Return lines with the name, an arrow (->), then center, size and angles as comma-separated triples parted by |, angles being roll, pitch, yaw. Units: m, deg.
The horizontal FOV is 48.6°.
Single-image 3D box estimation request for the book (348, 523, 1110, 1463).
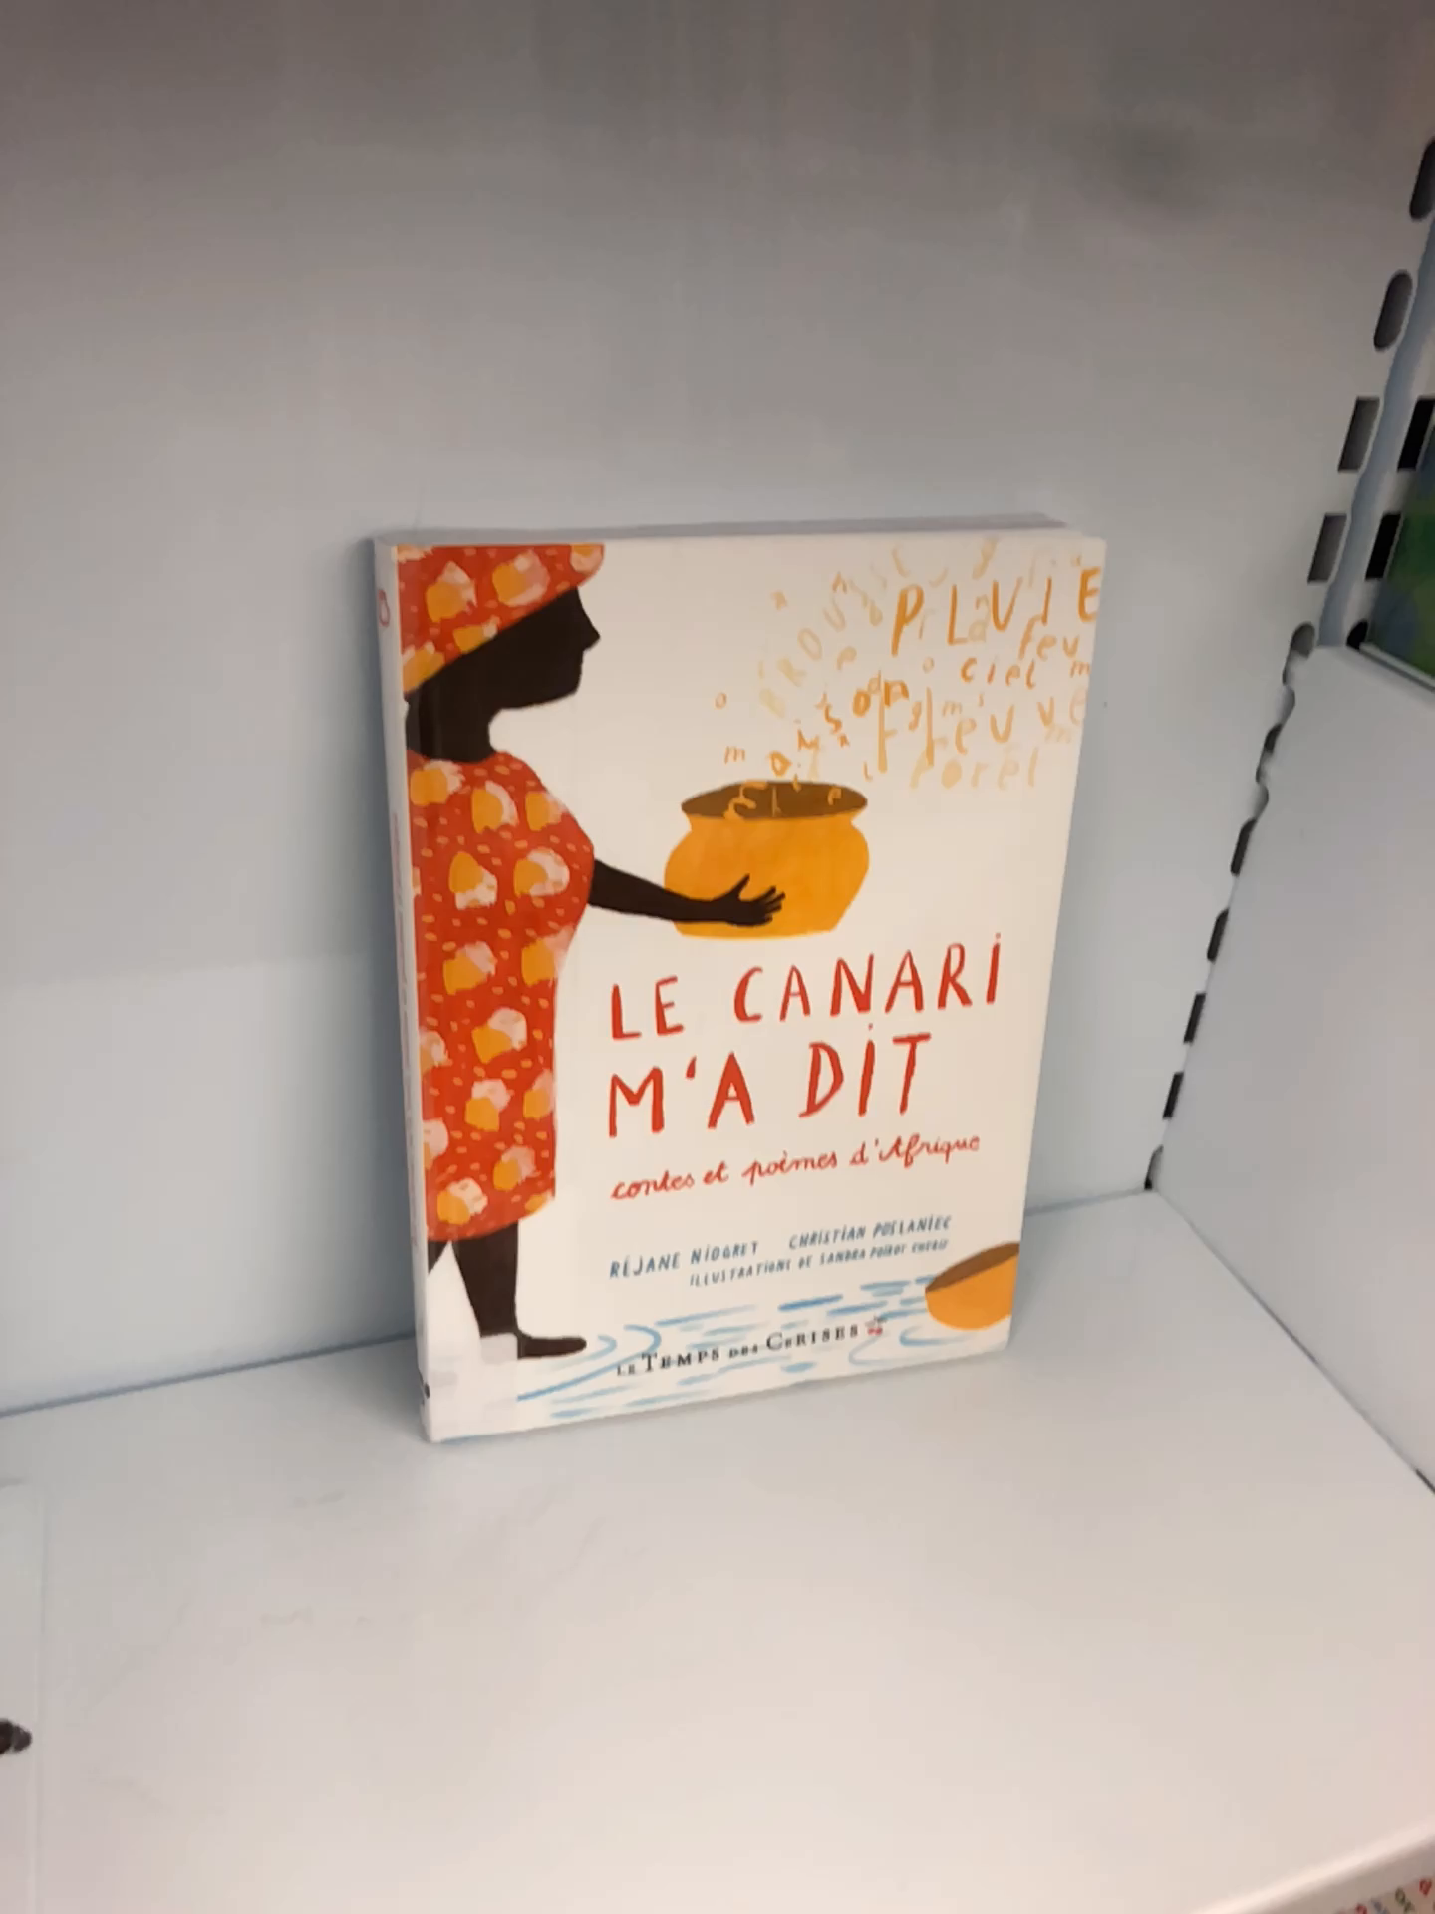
book -> 0.000, 0.008, 0.356 | 0.149, 0.199, 0.037 | -5, 23, -18
